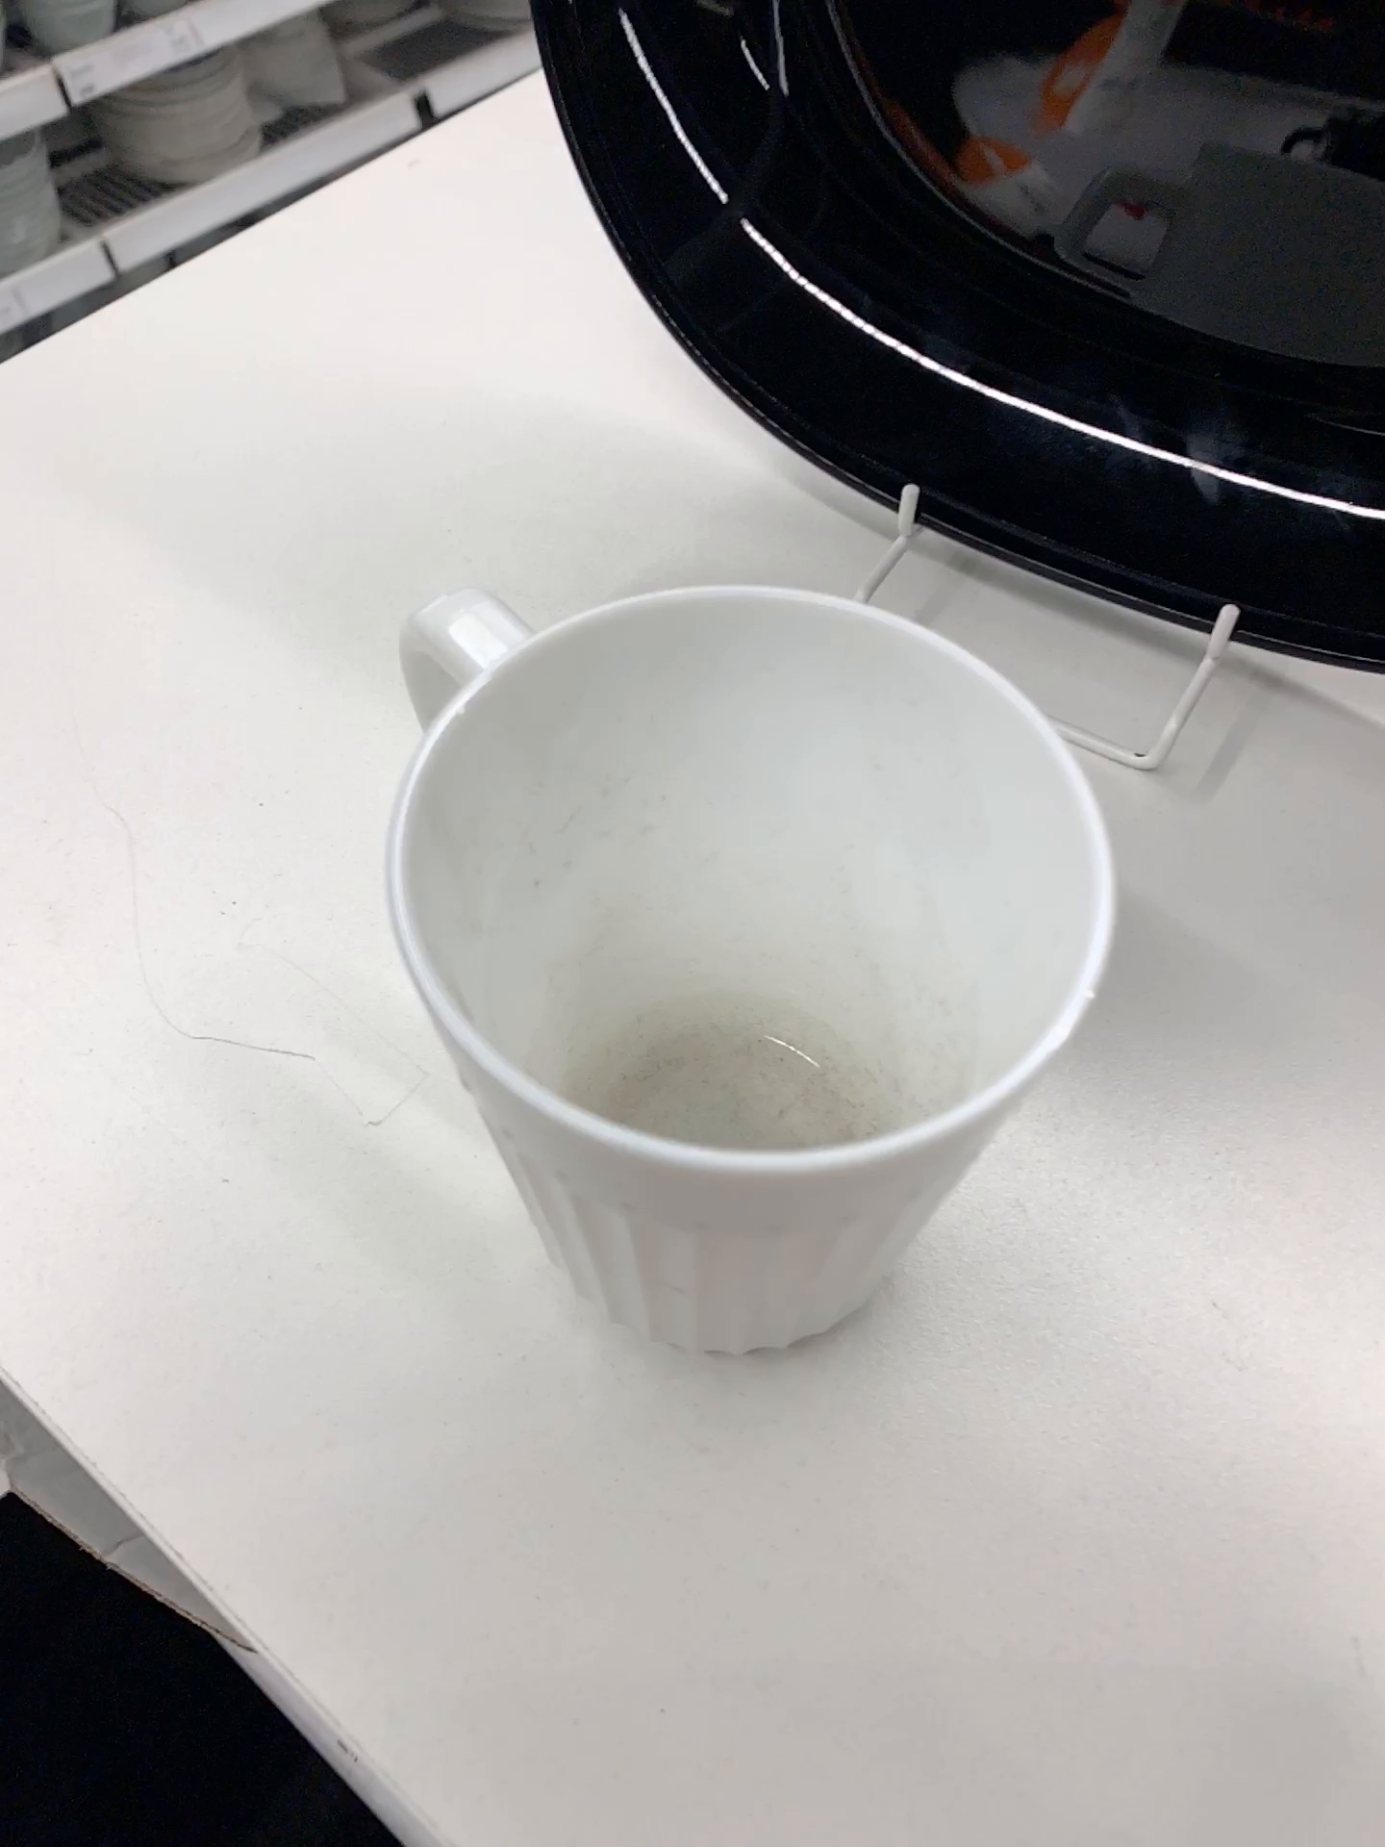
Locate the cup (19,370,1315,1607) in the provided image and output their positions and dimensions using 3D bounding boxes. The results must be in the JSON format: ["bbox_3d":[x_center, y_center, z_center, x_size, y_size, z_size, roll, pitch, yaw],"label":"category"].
[{"bbox_3d":[-0.006,0.005,0.188,0.090,0.080,0.110,-38,65,-25],"label":"cup"}]
